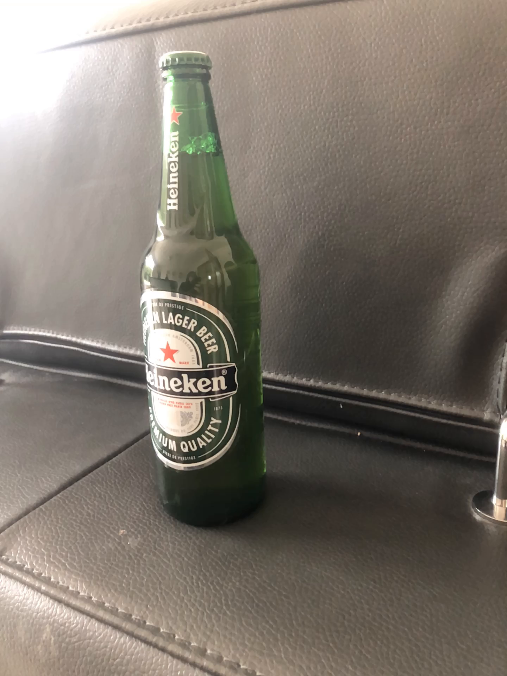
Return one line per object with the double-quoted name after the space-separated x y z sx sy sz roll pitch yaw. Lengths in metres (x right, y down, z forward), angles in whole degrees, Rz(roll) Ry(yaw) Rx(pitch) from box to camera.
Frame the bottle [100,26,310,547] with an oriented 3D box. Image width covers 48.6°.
-0.020 -0.024 0.337 0.080 0.269 0.080 -1 17 0 "bottle"
